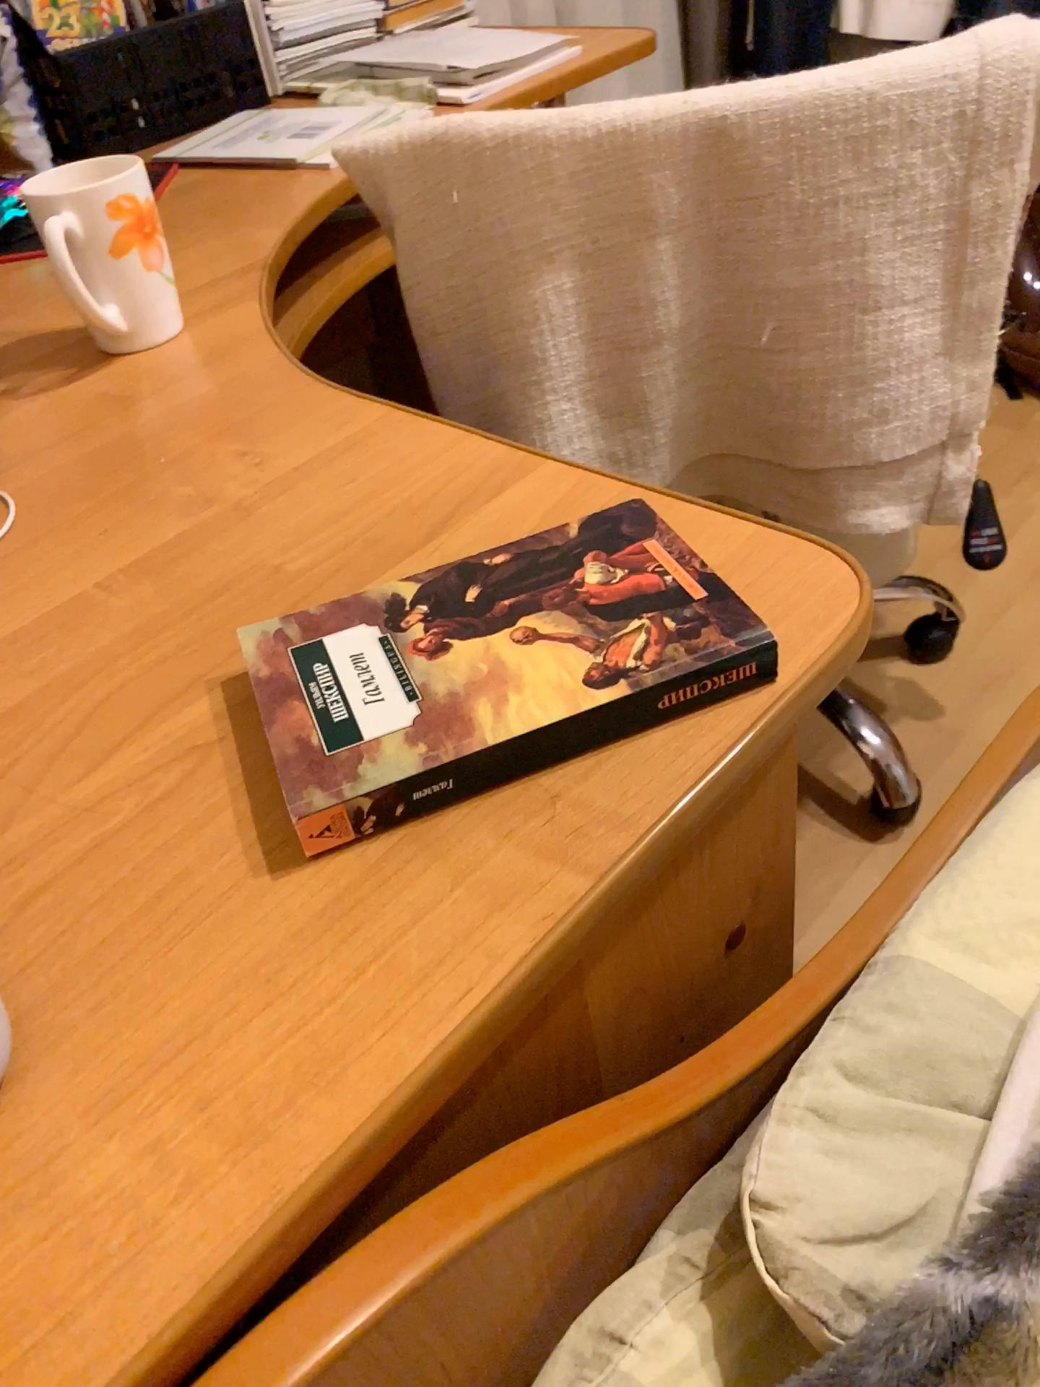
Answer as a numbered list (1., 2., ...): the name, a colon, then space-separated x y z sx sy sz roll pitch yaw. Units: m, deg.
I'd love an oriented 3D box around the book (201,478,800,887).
1. book: -0.013 -0.014 0.396 0.190 0.030 0.121 -19 40 -11
